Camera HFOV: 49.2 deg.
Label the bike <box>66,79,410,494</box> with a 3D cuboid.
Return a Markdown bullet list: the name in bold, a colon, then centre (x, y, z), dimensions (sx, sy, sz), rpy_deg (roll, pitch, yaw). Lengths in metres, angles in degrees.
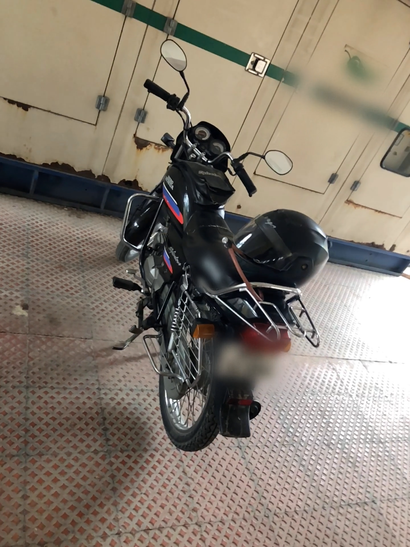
- **bike**: centre (-0.084, -0.113, 2.165), dimensions (0.736, 1.087, 1.867), rpy_deg (15, 28, -20)
